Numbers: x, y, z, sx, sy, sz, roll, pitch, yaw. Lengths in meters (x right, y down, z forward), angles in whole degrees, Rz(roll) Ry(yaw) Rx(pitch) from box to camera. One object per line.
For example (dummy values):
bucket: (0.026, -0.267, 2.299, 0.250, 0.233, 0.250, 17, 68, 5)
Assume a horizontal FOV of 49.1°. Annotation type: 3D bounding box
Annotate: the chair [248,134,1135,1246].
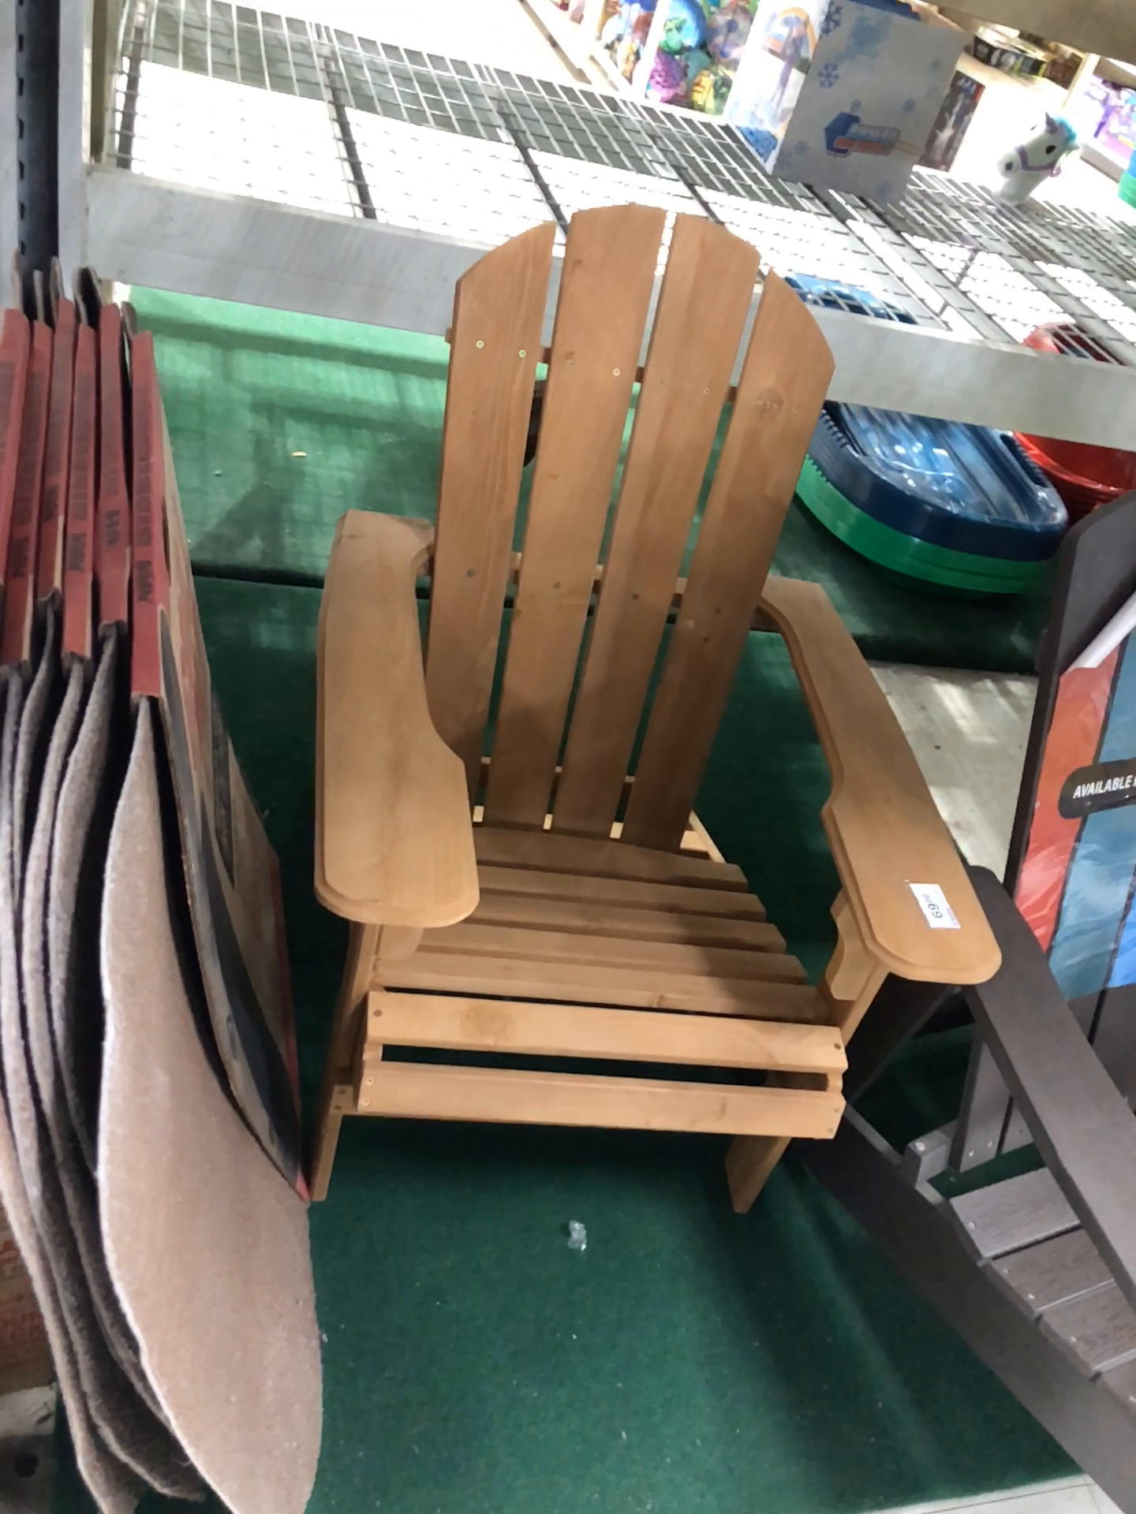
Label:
chair: (0.057, -0.027, 1.345, 0.642, 0.885, 0.689, 8, 40, -14)
